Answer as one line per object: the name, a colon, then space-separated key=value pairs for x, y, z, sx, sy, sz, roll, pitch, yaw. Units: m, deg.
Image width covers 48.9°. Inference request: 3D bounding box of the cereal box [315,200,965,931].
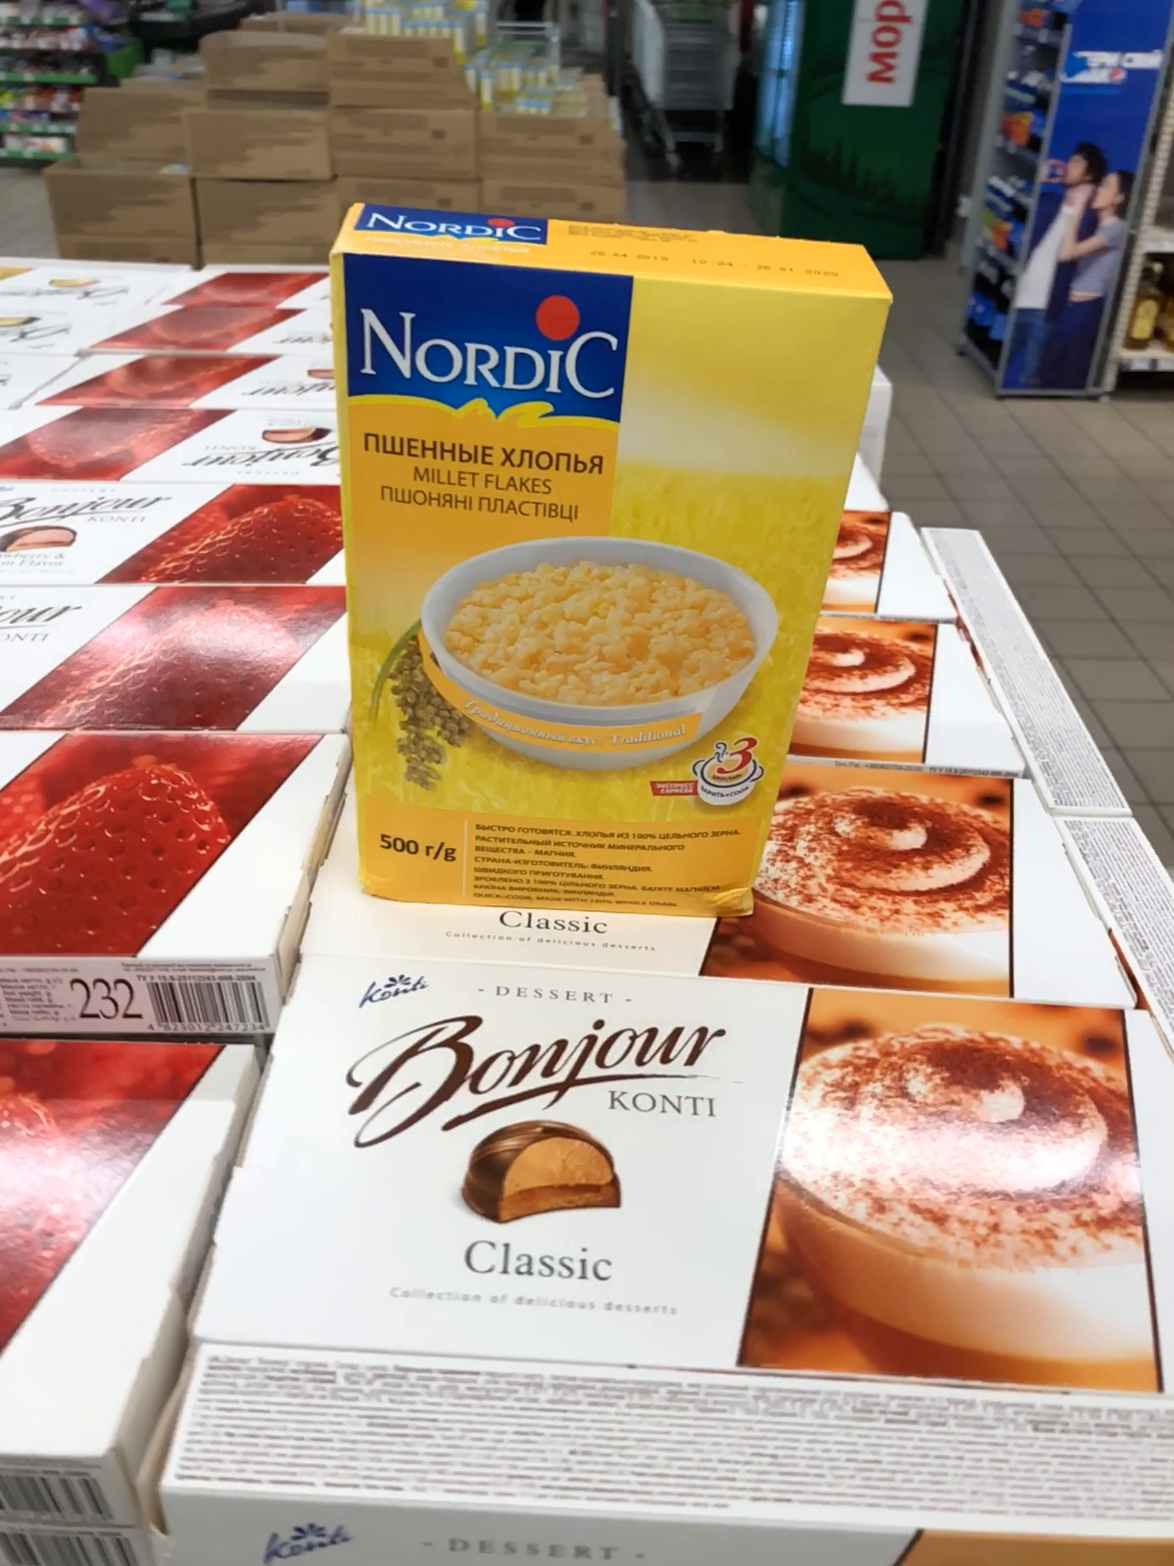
cereal box: x=0.005 y=-0.053 z=0.404 sx=0.160 sy=0.218 sz=0.050 roll=3 pitch=39 yaw=-3
